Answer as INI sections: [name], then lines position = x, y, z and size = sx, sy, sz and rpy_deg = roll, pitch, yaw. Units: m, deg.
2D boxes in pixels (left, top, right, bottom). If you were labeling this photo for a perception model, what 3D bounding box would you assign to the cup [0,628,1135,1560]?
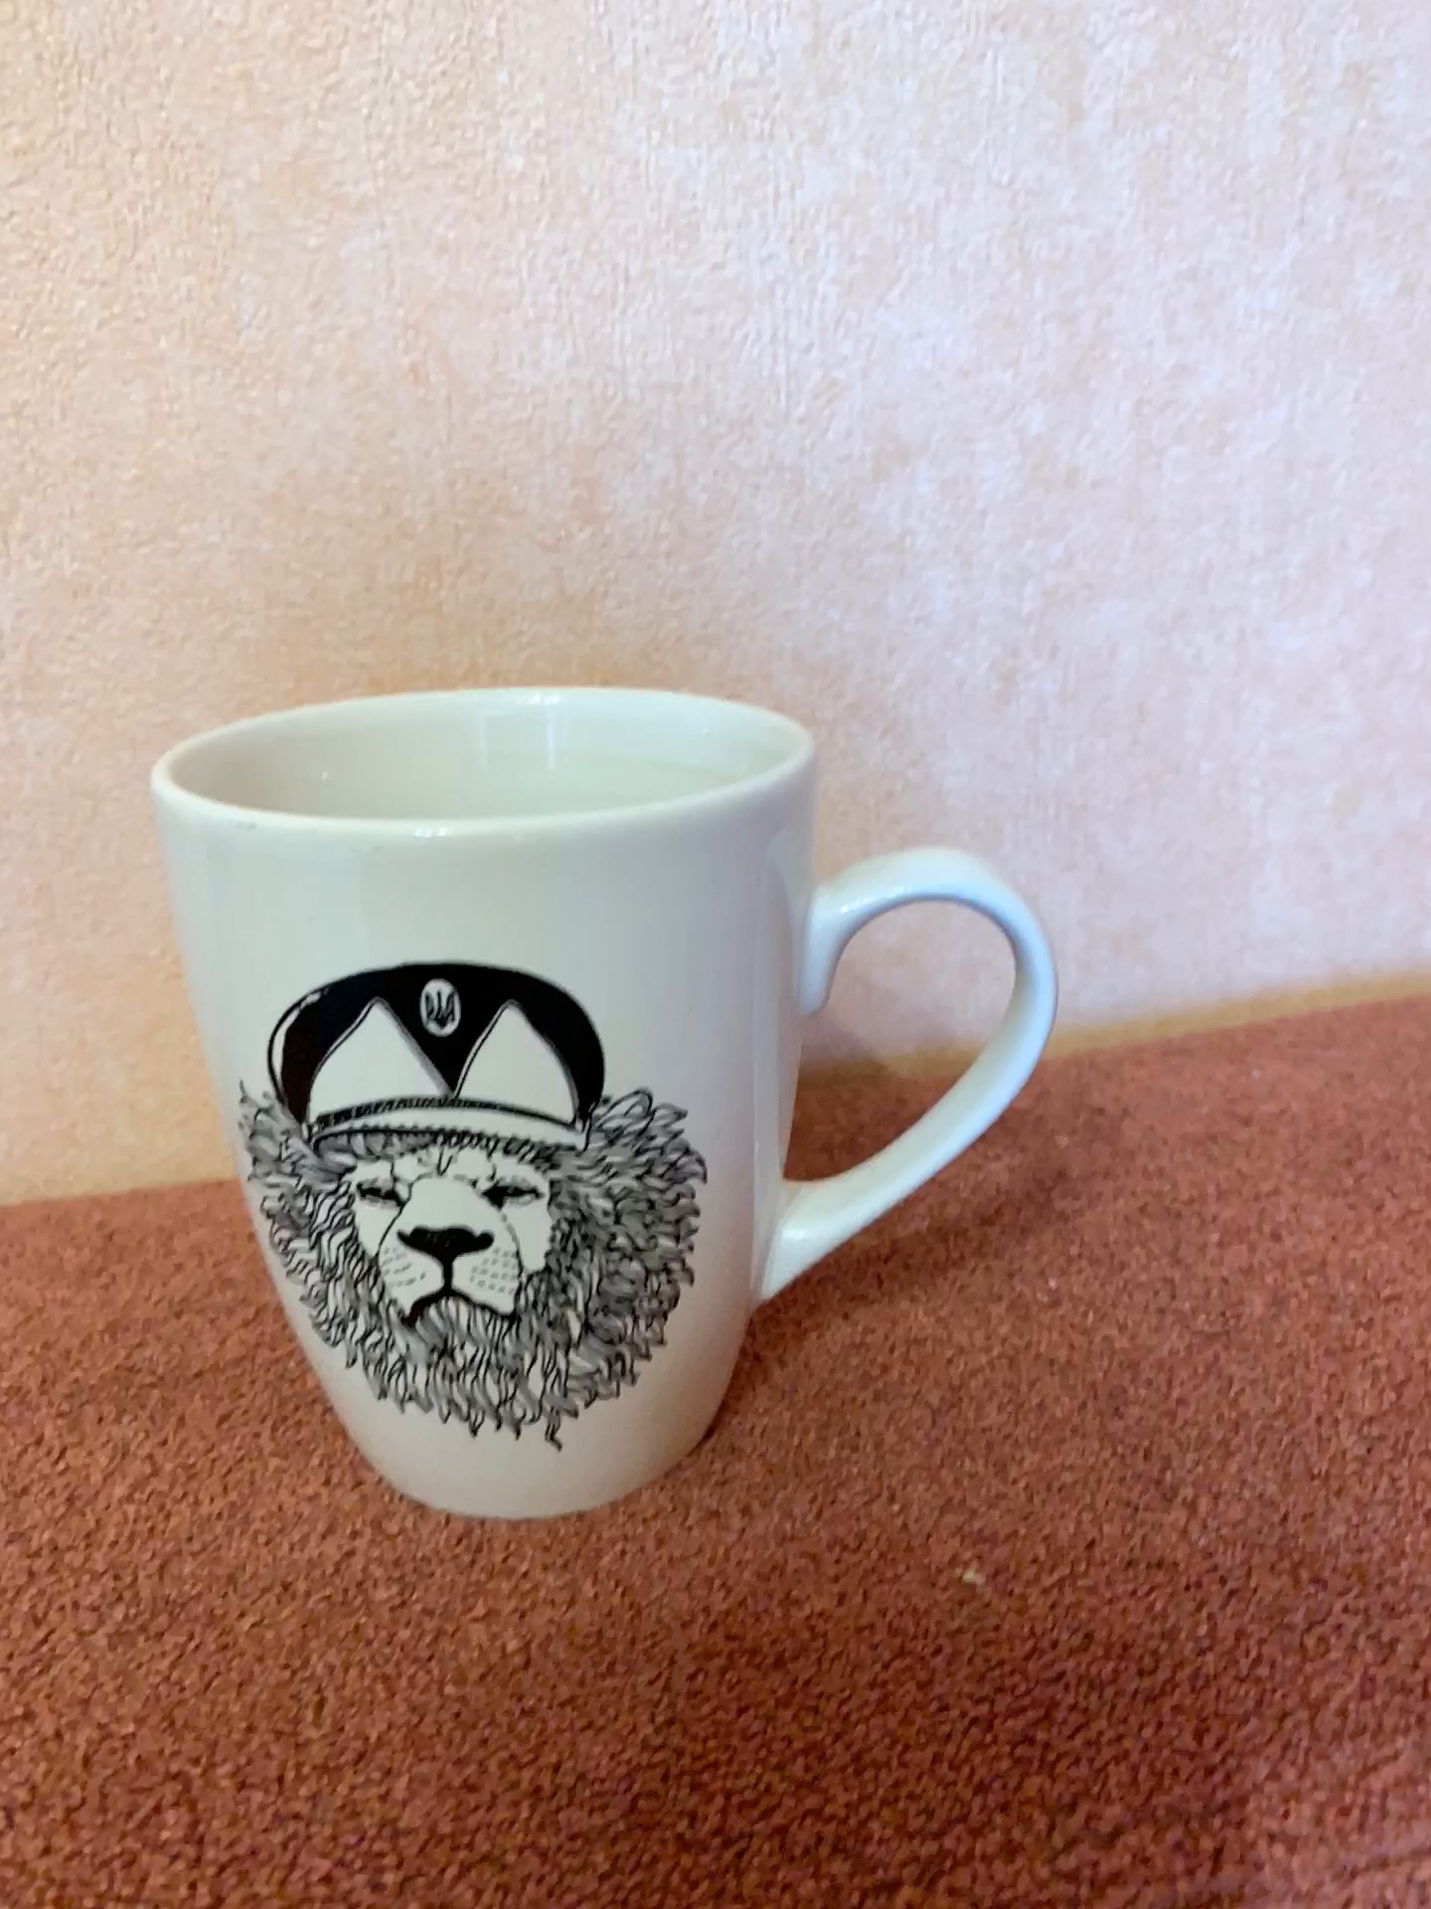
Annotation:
[cup]
position = -0.016, 0.012, 0.222
size = 0.125, 0.095, 0.106
rpy_deg = -2, 22, 3
